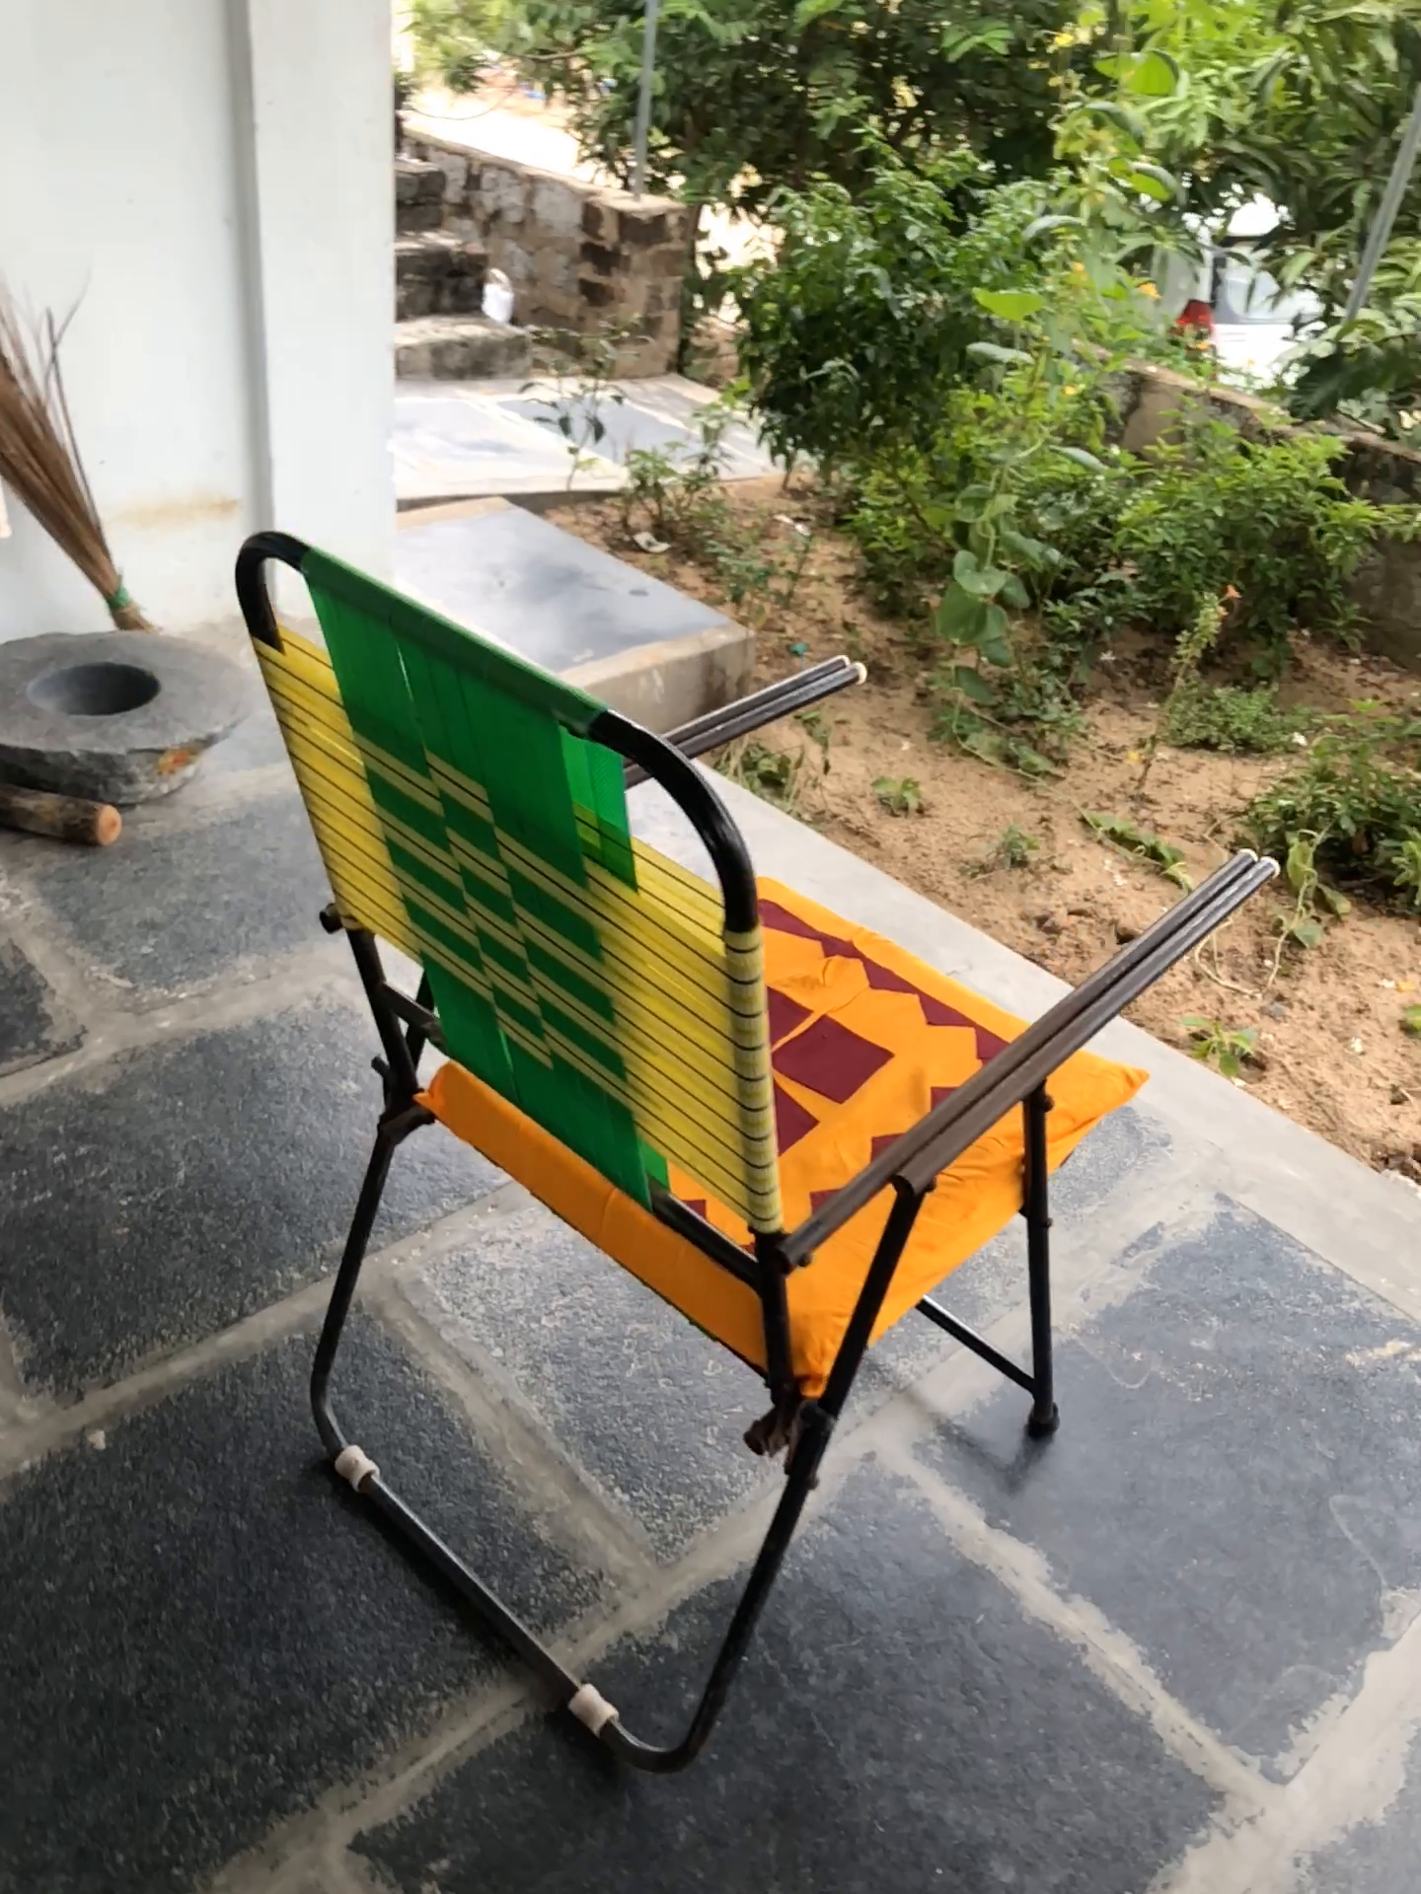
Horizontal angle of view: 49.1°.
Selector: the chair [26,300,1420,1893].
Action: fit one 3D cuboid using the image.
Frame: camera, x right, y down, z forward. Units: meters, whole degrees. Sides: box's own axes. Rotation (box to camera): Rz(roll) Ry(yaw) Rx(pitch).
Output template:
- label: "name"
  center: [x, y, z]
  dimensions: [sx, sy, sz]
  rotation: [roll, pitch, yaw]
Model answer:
- label: "chair"
  center: [0.022, 0.042, 1.207]
  dimensions: [0.660, 0.825, 0.684]
  rotation: [31, 41, 31]
